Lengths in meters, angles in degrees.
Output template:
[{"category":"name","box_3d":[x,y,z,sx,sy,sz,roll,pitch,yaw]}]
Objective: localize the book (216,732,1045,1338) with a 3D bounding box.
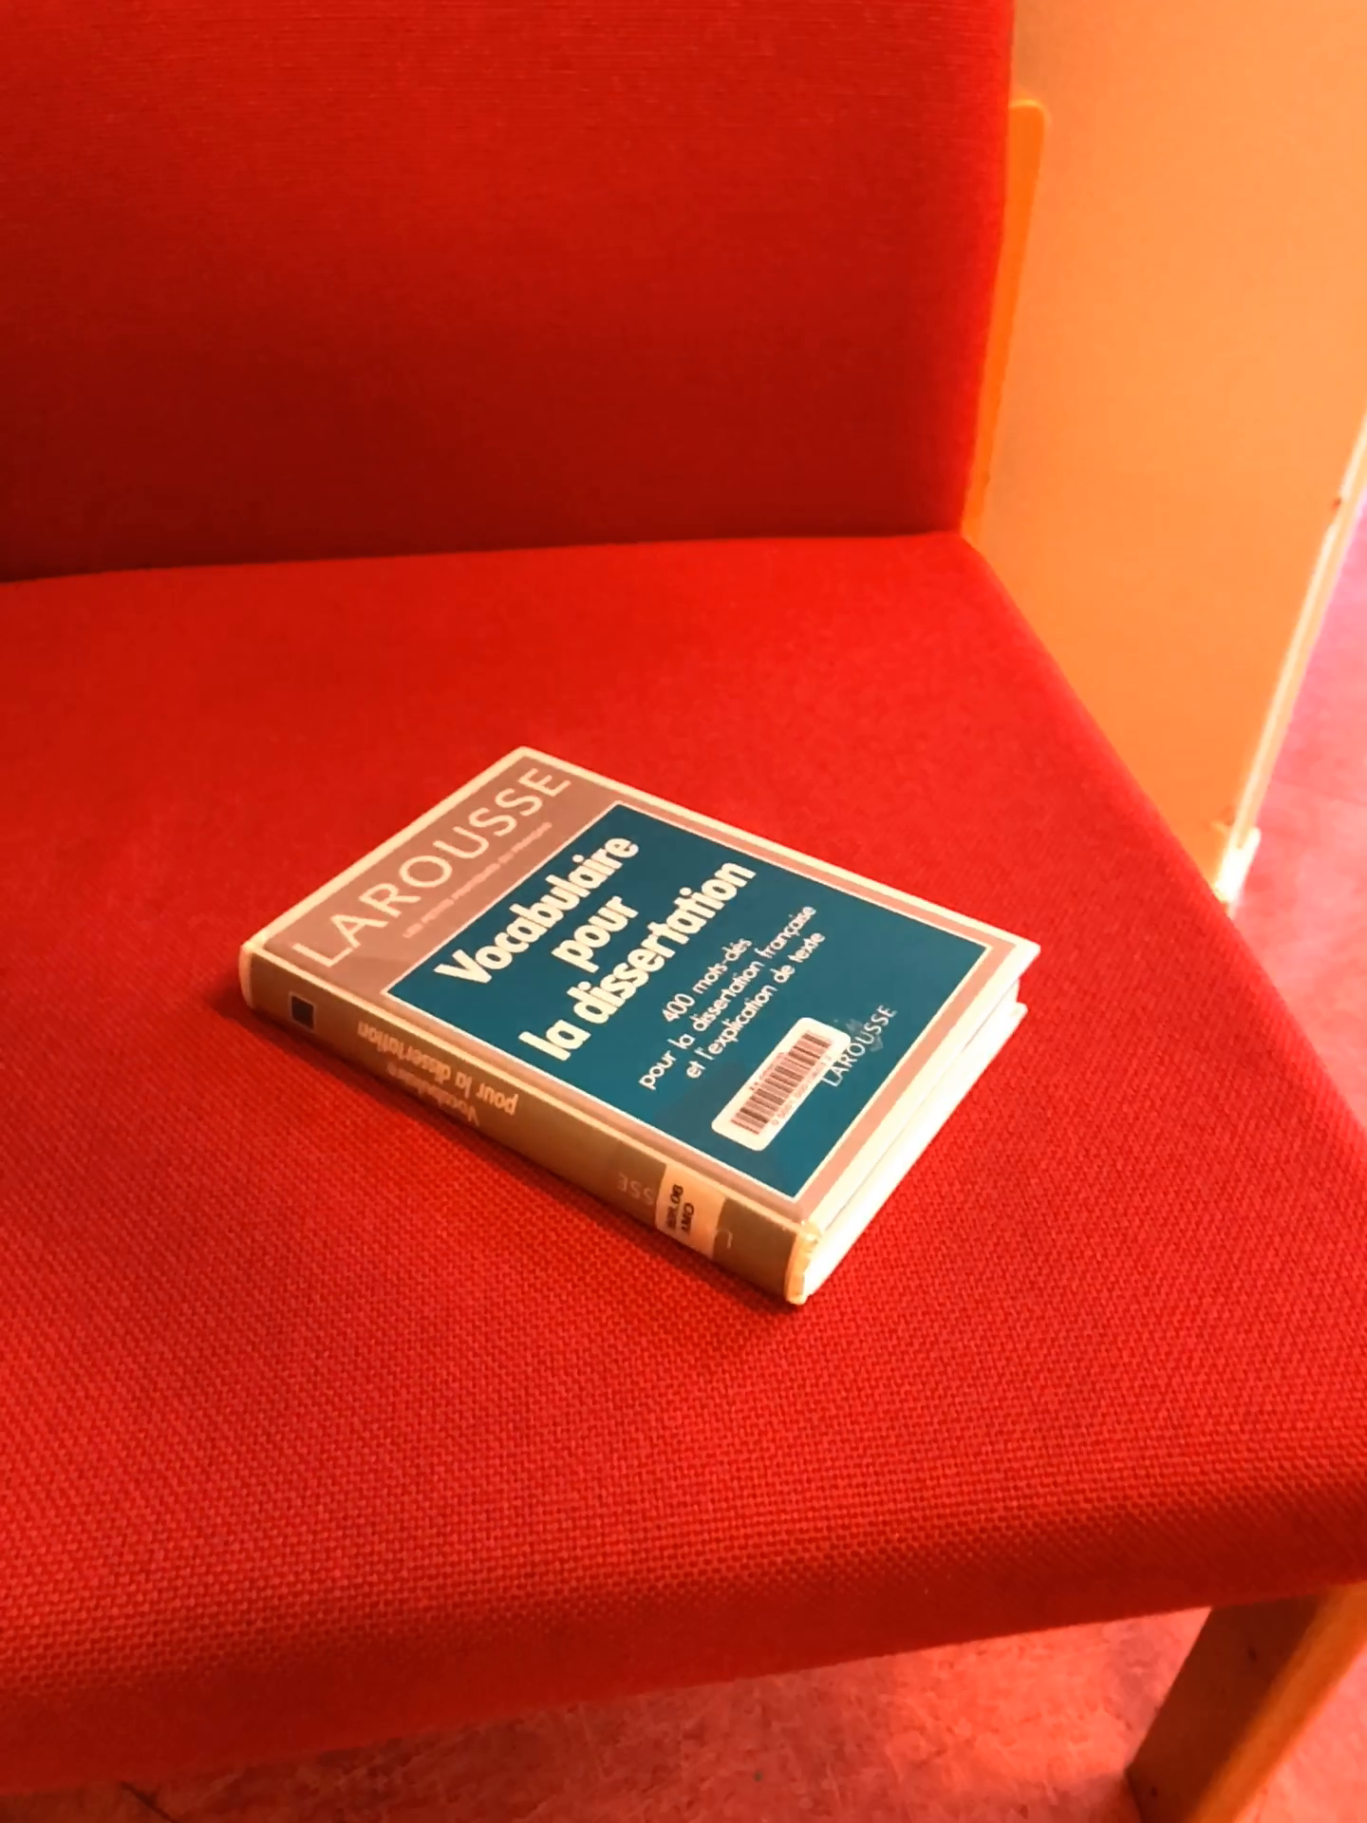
[{"category":"book","box_3d":[-0.015,0.021,0.449,0.198,0.030,0.138,23,45,25]}]
